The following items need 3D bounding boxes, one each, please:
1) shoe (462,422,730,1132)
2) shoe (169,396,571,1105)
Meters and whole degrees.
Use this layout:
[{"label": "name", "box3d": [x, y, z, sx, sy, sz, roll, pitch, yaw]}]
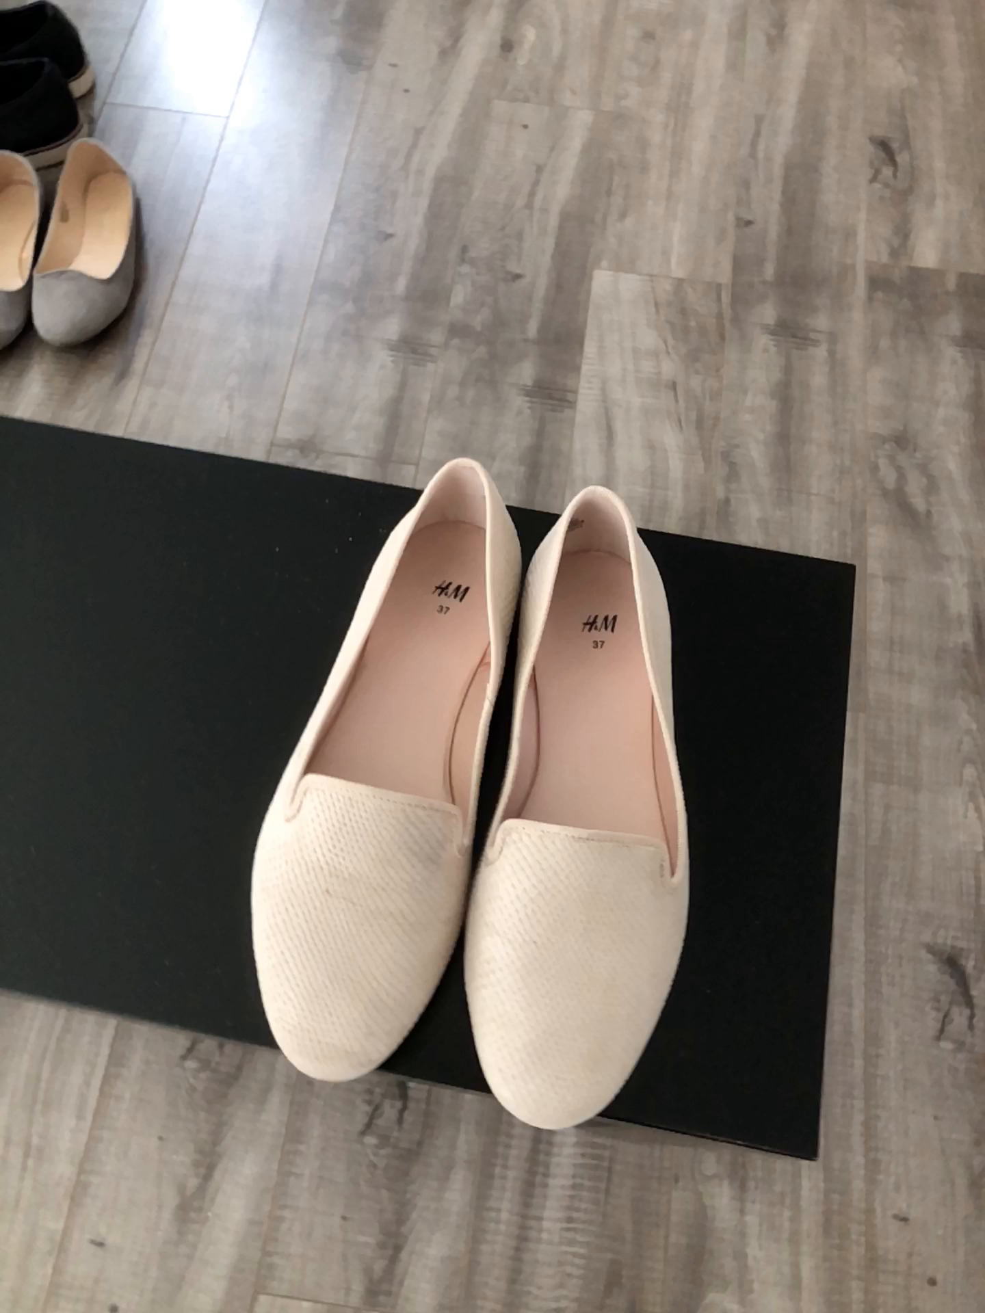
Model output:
[{"label": "shoe", "box3d": [0.043, 0.040, 0.422, 0.080, 0.070, 0.259, 6, 66, 1]}, {"label": "shoe", "box3d": [-0.036, 0.030, 0.429, 0.090, 0.070, 0.259, 10, 66, 3]}]
